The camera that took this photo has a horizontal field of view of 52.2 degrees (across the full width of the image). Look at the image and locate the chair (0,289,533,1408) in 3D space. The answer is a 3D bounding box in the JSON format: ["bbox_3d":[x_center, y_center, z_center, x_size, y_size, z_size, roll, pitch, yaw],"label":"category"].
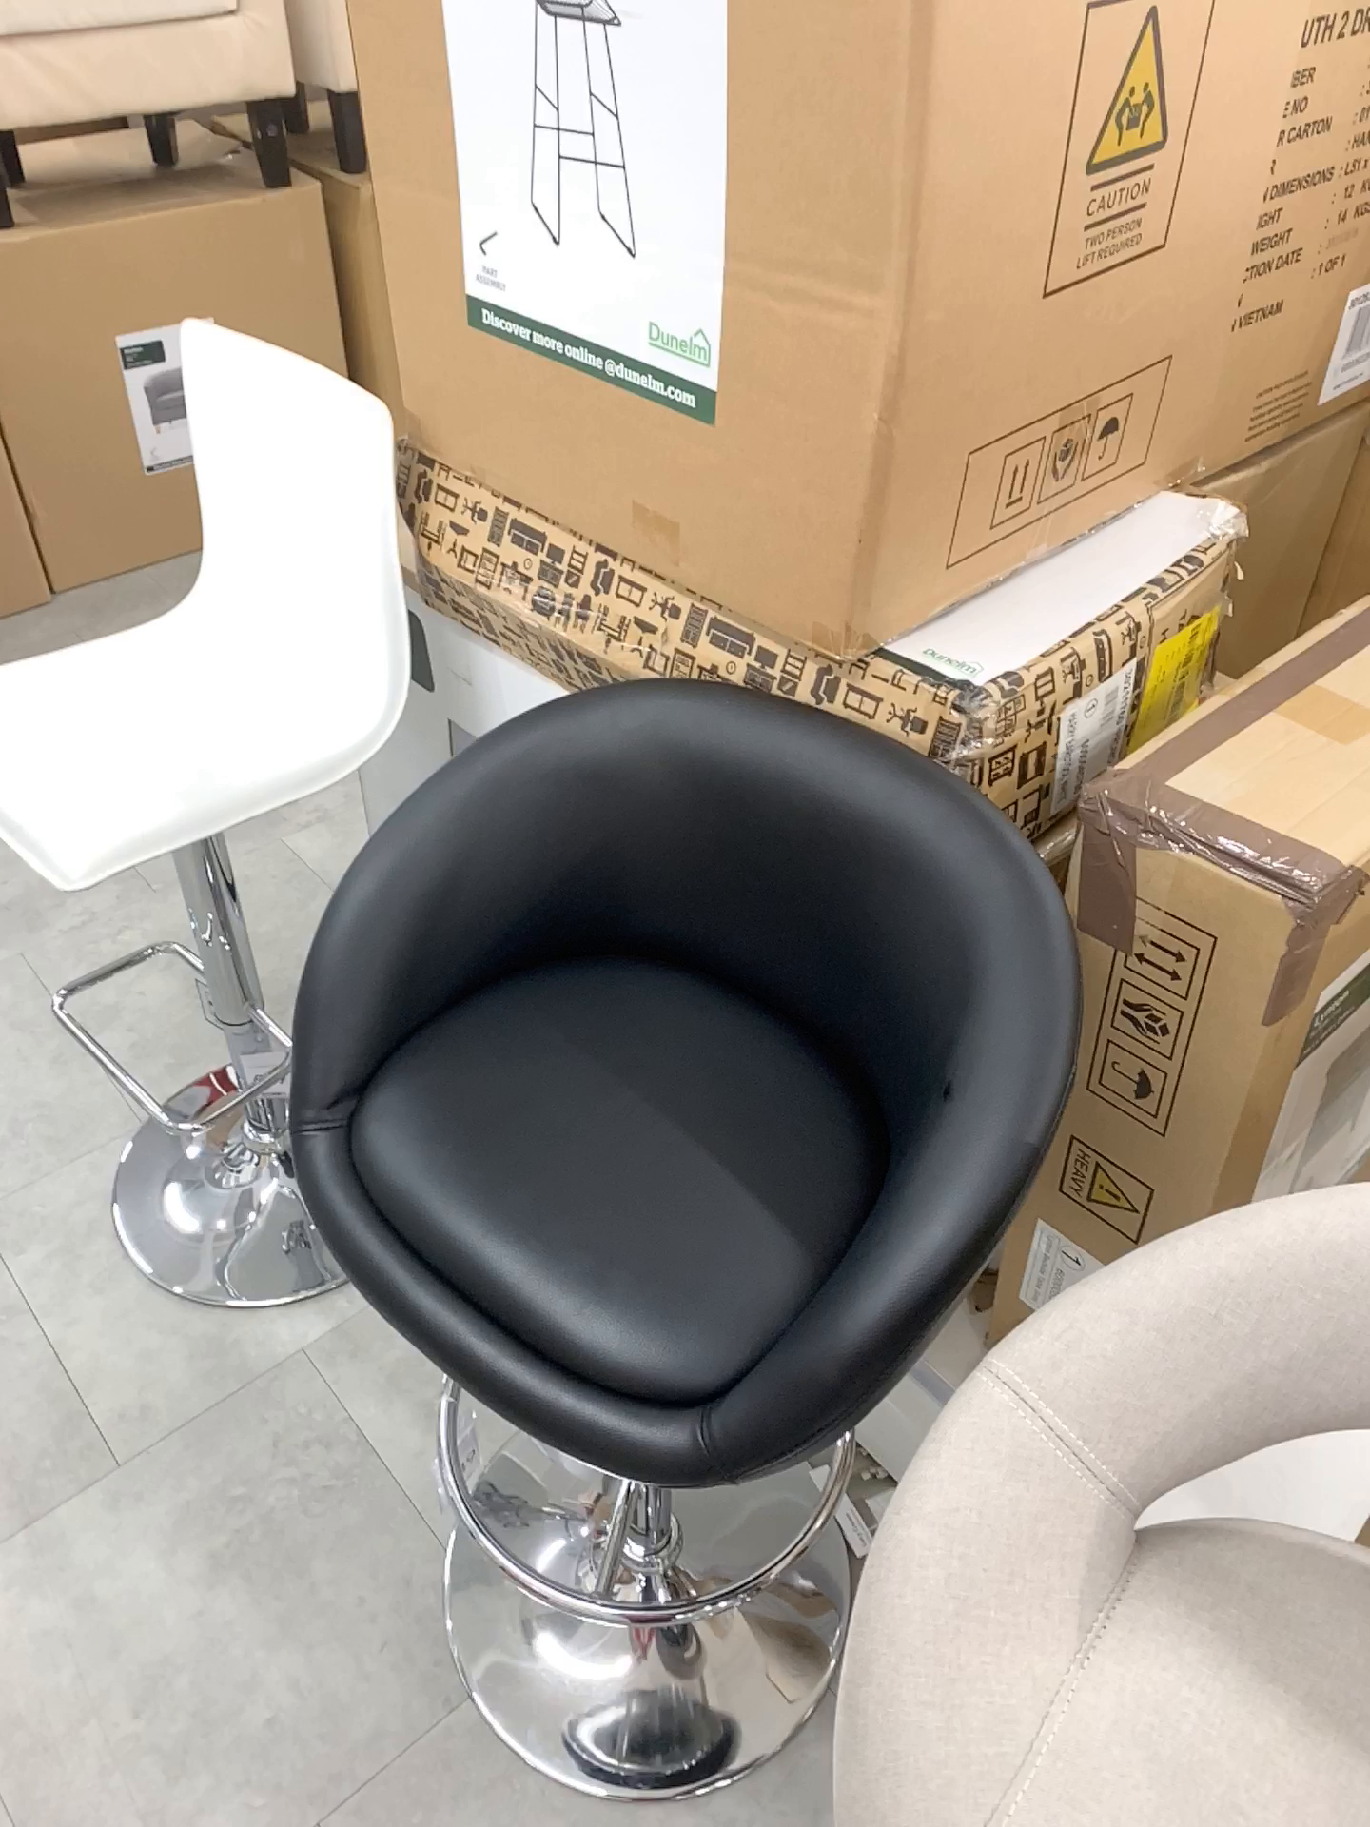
[{"bbox_3d":[-0.494,-0.037,1.423,0.446,0.948,0.442,31,49,30],"label":"chair"}]

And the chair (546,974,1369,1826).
[{"bbox_3d":[0.258,0.581,0.745,0.446,0.918,0.432,31,49,30],"label":"chair"}]

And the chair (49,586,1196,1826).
[{"bbox_3d":[-0.045,0.301,1.071,0.442,0.869,0.476,-33,51,-33],"label":"chair"}]
